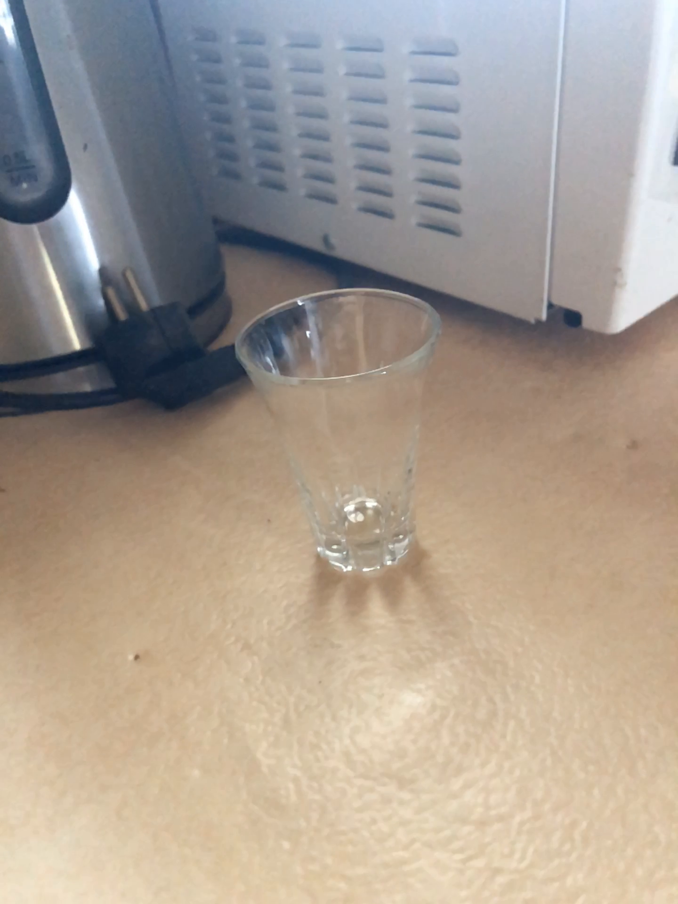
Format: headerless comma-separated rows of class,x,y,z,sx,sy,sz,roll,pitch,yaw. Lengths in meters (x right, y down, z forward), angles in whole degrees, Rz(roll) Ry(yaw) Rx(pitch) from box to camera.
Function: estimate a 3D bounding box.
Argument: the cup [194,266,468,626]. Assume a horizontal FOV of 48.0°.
cup,-0.001,-0.004,0.205,0.050,0.070,0.050,-5,34,3
